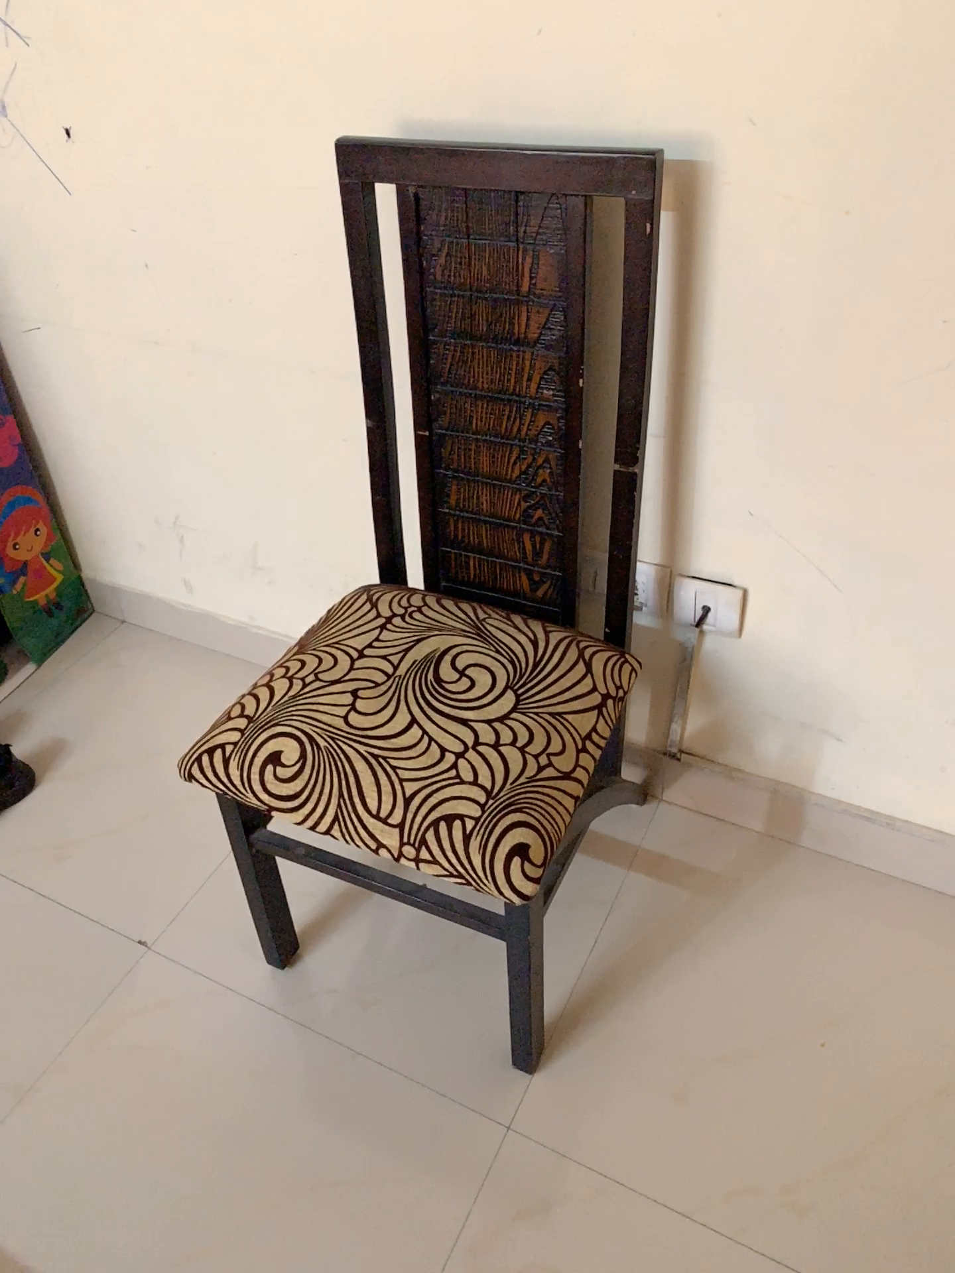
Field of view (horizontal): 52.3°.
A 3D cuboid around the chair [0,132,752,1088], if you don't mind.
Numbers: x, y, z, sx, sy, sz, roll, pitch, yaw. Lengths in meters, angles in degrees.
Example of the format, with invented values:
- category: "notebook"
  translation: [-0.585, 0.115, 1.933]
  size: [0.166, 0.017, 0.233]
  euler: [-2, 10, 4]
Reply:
- category: "chair"
  translation: [-0.044, -0.040, 1.202]
  size: [0.531, 0.922, 0.584]
  euler: [13, 42, 21]
